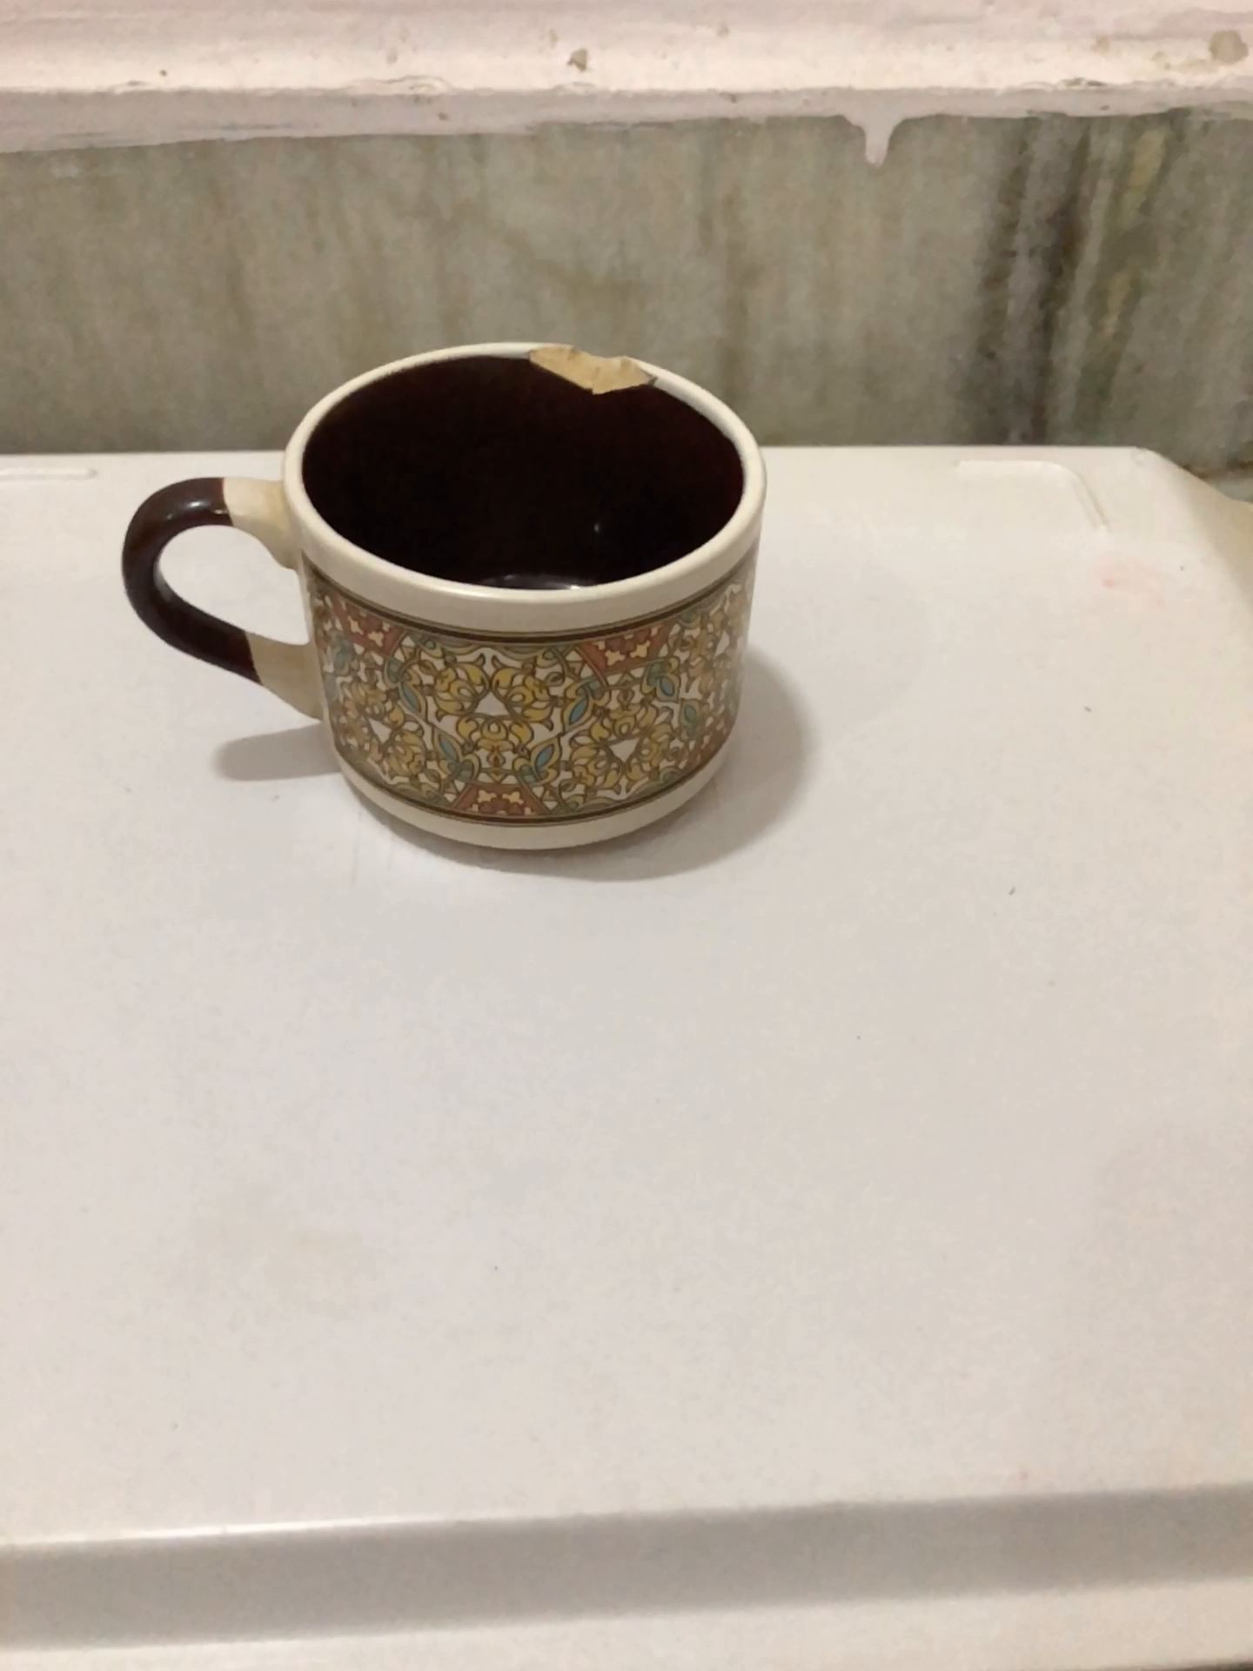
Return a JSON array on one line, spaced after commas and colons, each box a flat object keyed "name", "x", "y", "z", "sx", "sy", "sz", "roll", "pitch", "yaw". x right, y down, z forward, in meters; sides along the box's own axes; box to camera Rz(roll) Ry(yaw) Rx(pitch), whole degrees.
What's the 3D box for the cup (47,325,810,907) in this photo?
[{"name": "cup", "x": -0.028, "y": -0.039, "z": 0.234, "sx": 0.100, "sy": 0.060, "sz": 0.080, "roll": -1, "pitch": 44, "yaw": -3}]
